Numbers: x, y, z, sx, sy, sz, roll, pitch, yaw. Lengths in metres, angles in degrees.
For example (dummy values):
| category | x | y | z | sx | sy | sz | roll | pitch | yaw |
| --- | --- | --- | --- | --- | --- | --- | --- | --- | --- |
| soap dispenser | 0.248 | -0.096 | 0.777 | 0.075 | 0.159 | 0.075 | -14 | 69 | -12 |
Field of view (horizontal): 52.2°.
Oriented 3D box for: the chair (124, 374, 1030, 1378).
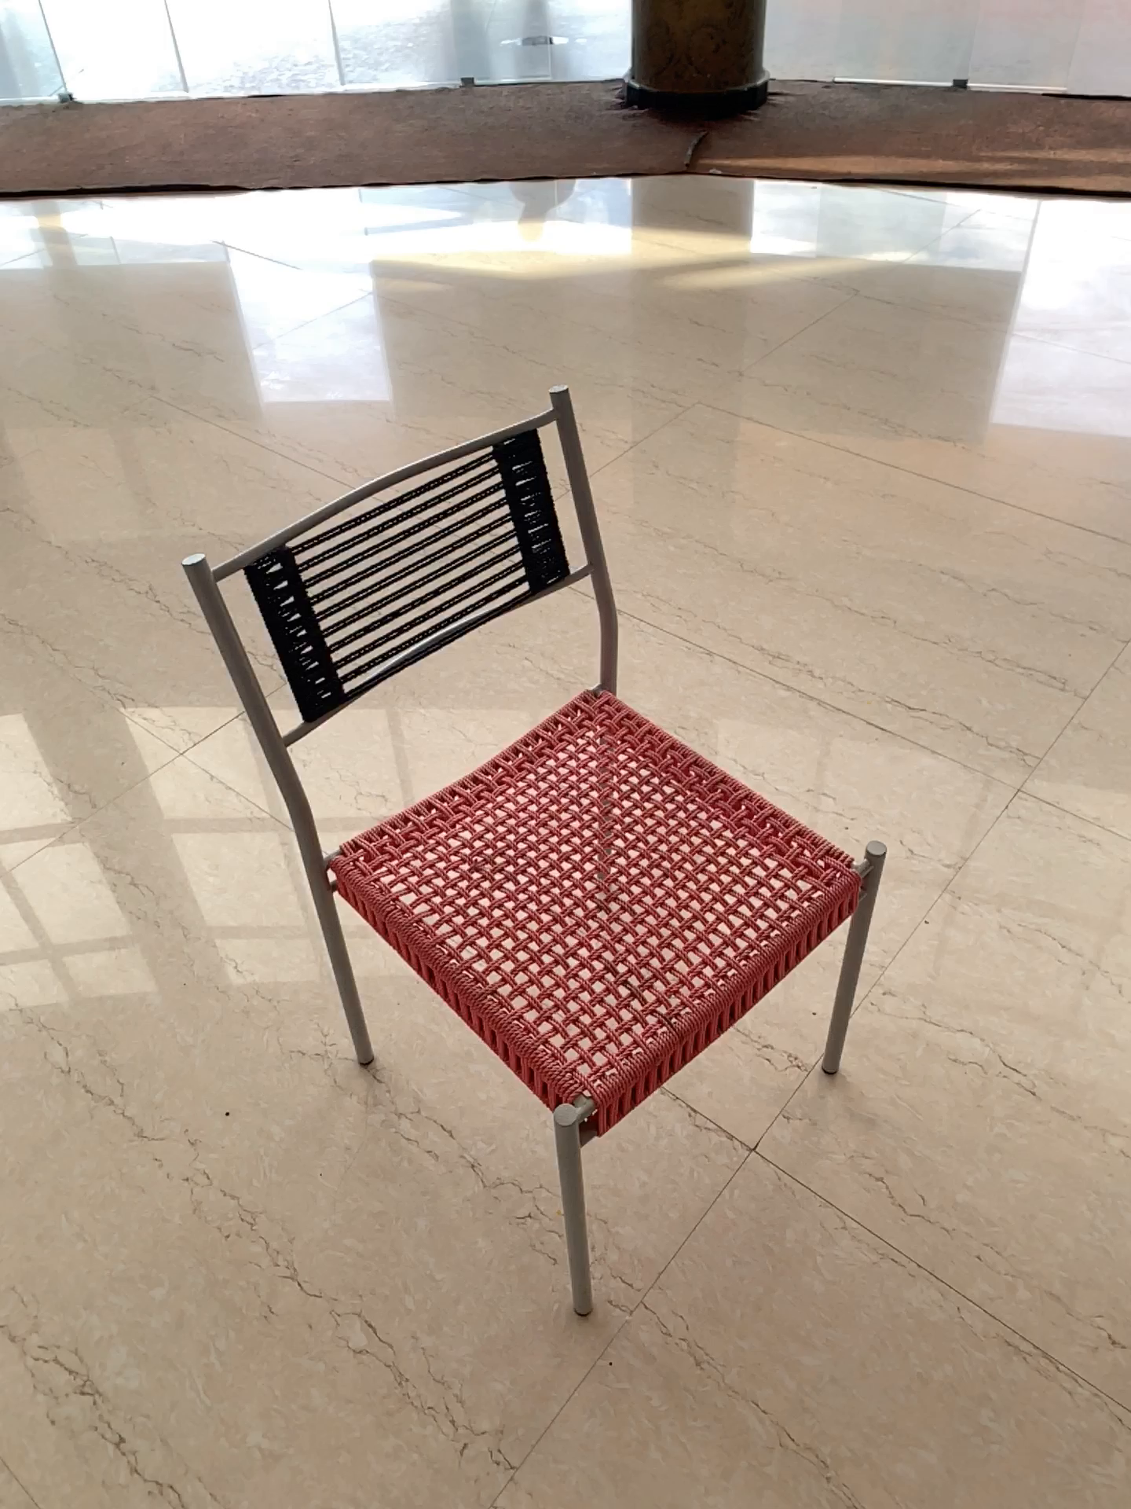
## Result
| category | x | y | z | sx | sy | sz | roll | pitch | yaw |
| --- | --- | --- | --- | --- | --- | --- | --- | --- | --- |
| chair | 0.013 | 0.114 | 1.247 | 0.532 | 0.734 | 0.583 | -34 | 51 | -29 |
